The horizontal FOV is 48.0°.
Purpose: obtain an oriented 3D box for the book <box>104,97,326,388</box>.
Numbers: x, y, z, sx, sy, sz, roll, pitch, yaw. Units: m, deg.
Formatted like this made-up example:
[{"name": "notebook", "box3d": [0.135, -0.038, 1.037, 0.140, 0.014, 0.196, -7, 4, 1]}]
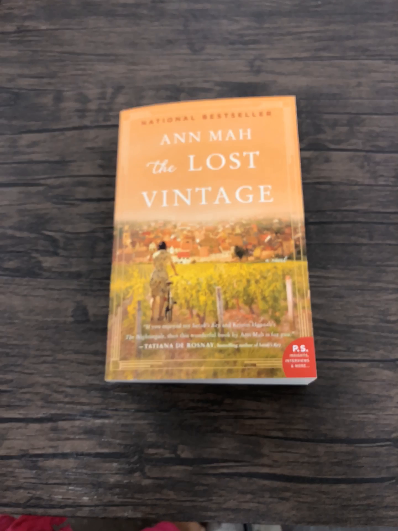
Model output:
[{"name": "book", "box3d": [0.010, -0.017, 0.317, 0.134, 0.040, 0.200, -2, 74, 5]}]
